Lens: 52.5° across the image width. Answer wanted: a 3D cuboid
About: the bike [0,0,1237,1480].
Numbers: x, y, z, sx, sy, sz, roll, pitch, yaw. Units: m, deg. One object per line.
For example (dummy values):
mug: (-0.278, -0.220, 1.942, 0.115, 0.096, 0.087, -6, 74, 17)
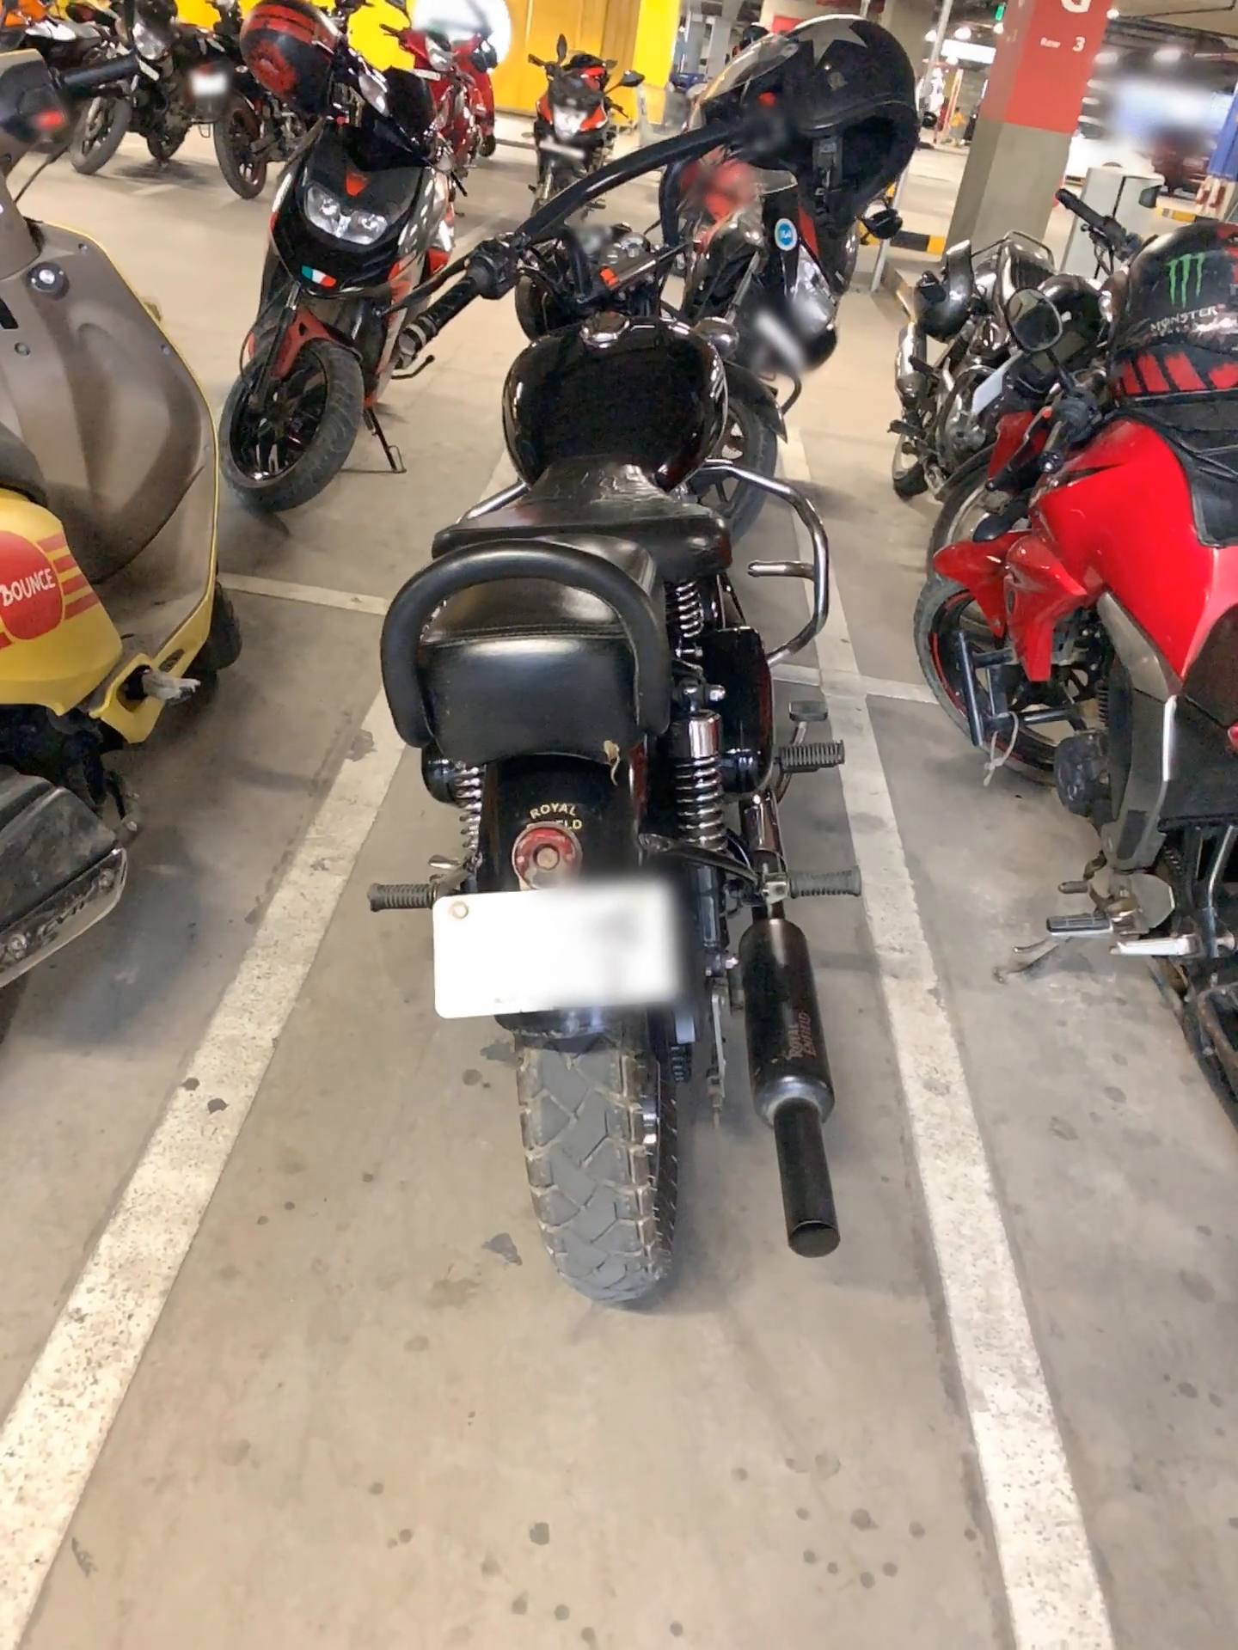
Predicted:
bike: (-0.192, -0.407, 1.906, 0.799, 1.303, 2.032, 5, 31, -8)
